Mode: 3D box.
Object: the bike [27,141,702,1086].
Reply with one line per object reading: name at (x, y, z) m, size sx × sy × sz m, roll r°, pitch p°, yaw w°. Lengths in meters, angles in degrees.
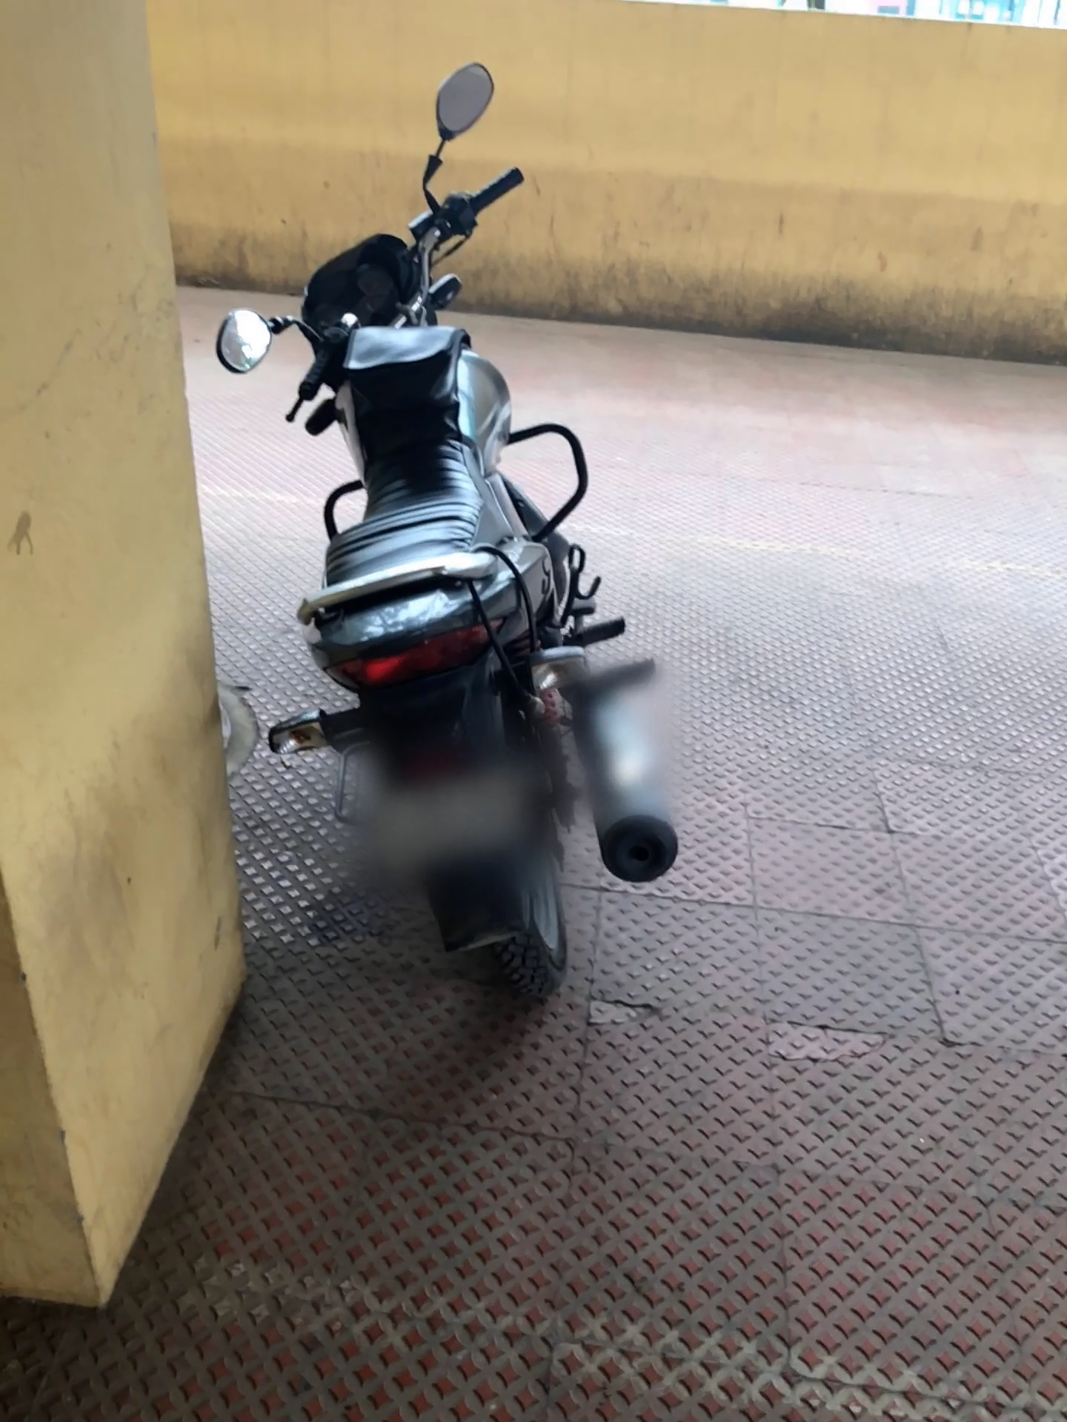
bike at (-0.332, -0.302, 2.164) m, size 0.720 × 1.166 × 1.476 m, roll -2°, pitch 32°, yaw -9°
